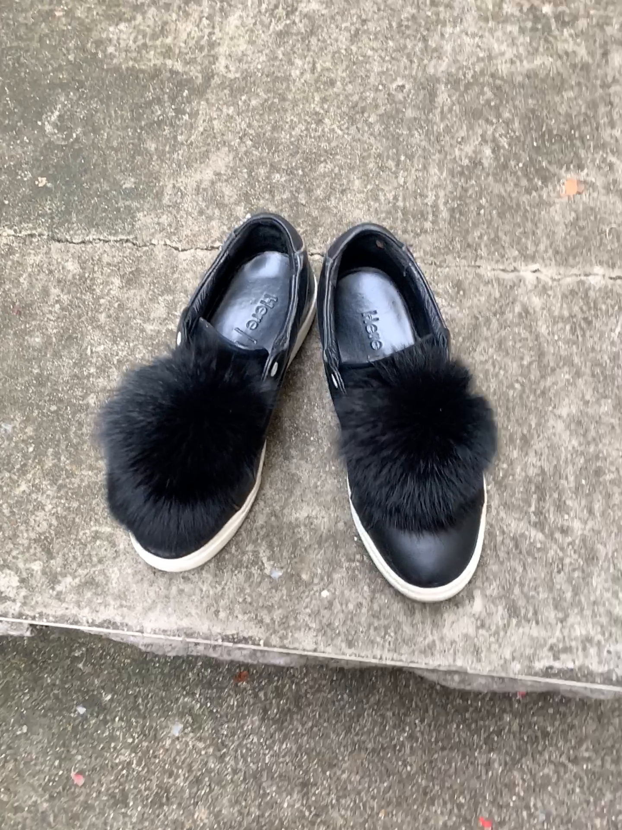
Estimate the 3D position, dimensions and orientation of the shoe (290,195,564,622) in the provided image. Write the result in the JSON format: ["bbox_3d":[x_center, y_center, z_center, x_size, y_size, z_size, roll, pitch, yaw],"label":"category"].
[{"bbox_3d":[0.060,-0.003,0.411,0.098,0.098,0.244,-11,70,-1],"label":"shoe"}]

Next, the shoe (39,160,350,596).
[{"bbox_3d":[-0.061,-0.027,0.439,0.095,0.098,0.269,18,72,9],"label":"shoe"}]
